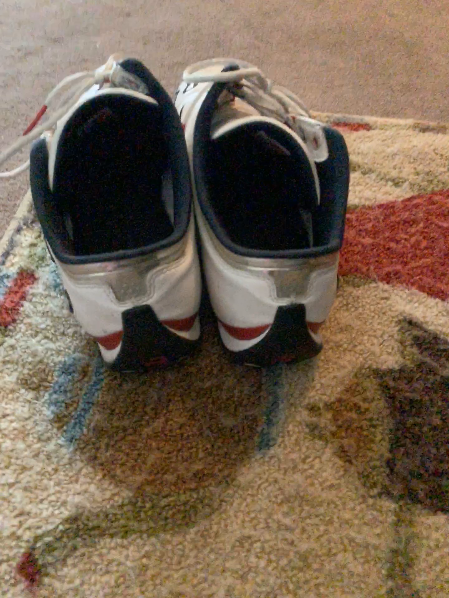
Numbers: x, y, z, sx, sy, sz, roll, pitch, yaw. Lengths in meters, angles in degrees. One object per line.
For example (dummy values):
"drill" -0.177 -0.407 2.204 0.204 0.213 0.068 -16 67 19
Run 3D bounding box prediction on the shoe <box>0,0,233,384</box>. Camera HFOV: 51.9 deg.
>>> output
"shoe" -0.076 -0.106 0.309 0.100 0.106 0.292 -7 54 -9

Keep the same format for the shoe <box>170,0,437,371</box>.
"shoe" 0.022 -0.109 0.322 0.100 0.106 0.292 -4 54 -7
